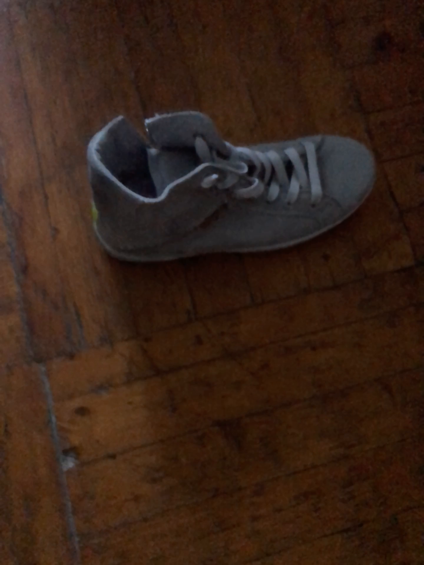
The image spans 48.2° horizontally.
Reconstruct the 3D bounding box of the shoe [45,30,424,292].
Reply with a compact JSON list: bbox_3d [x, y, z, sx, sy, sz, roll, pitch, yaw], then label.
[{"bbox_3d":[0.037,-0.092,0.452,0.310,0.220,0.130,-10,84,-6],"label":"shoe"}]
